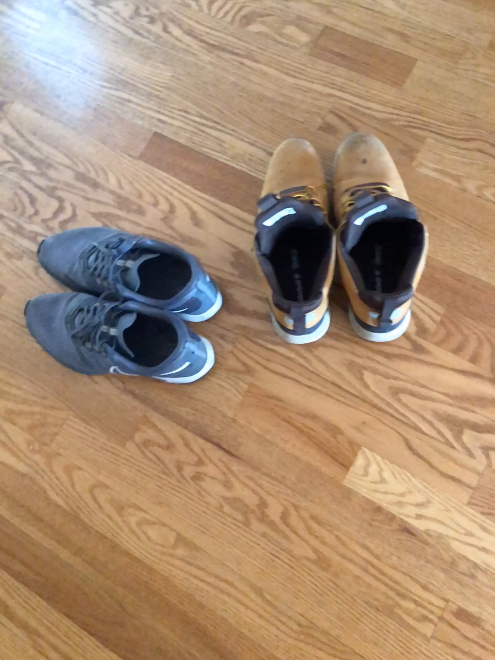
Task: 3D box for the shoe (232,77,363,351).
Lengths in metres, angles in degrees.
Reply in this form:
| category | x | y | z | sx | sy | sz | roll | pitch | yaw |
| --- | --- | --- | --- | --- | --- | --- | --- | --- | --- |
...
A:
| category | x | y | z | sx | sy | sz | roll | pitch | yaw |
| --- | --- | --- | --- | --- | --- | --- | --- | --- | --- |
| shoe | 0.066 | -0.147 | 0.731 | 0.130 | 0.140 | 0.320 | -6 | 76 | 7 |

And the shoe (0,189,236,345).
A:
| category | x | y | z | sx | sy | sz | roll | pitch | yaw |
| --- | --- | --- | --- | --- | --- | --- | --- | --- | --- |
| shoe | -0.202 | -0.096 | 0.822 | 0.330 | 0.100 | 0.140 | 15 | 80 | 12 |

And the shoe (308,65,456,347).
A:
| category | x | y | z | sx | sy | sz | roll | pitch | yaw |
| --- | --- | --- | --- | --- | --- | --- | --- | --- | --- |
| shoe | 0.164 | -0.153 | 0.712 | 0.130 | 0.140 | 0.320 | -6 | 76 | 7 |

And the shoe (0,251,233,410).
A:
| category | x | y | z | sx | sy | sz | roll | pitch | yaw |
| --- | --- | --- | --- | --- | --- | --- | --- | --- | --- |
| shoe | -0.200 | 0.001 | 0.799 | 0.320 | 0.100 | 0.140 | 15 | 80 | 12 |
